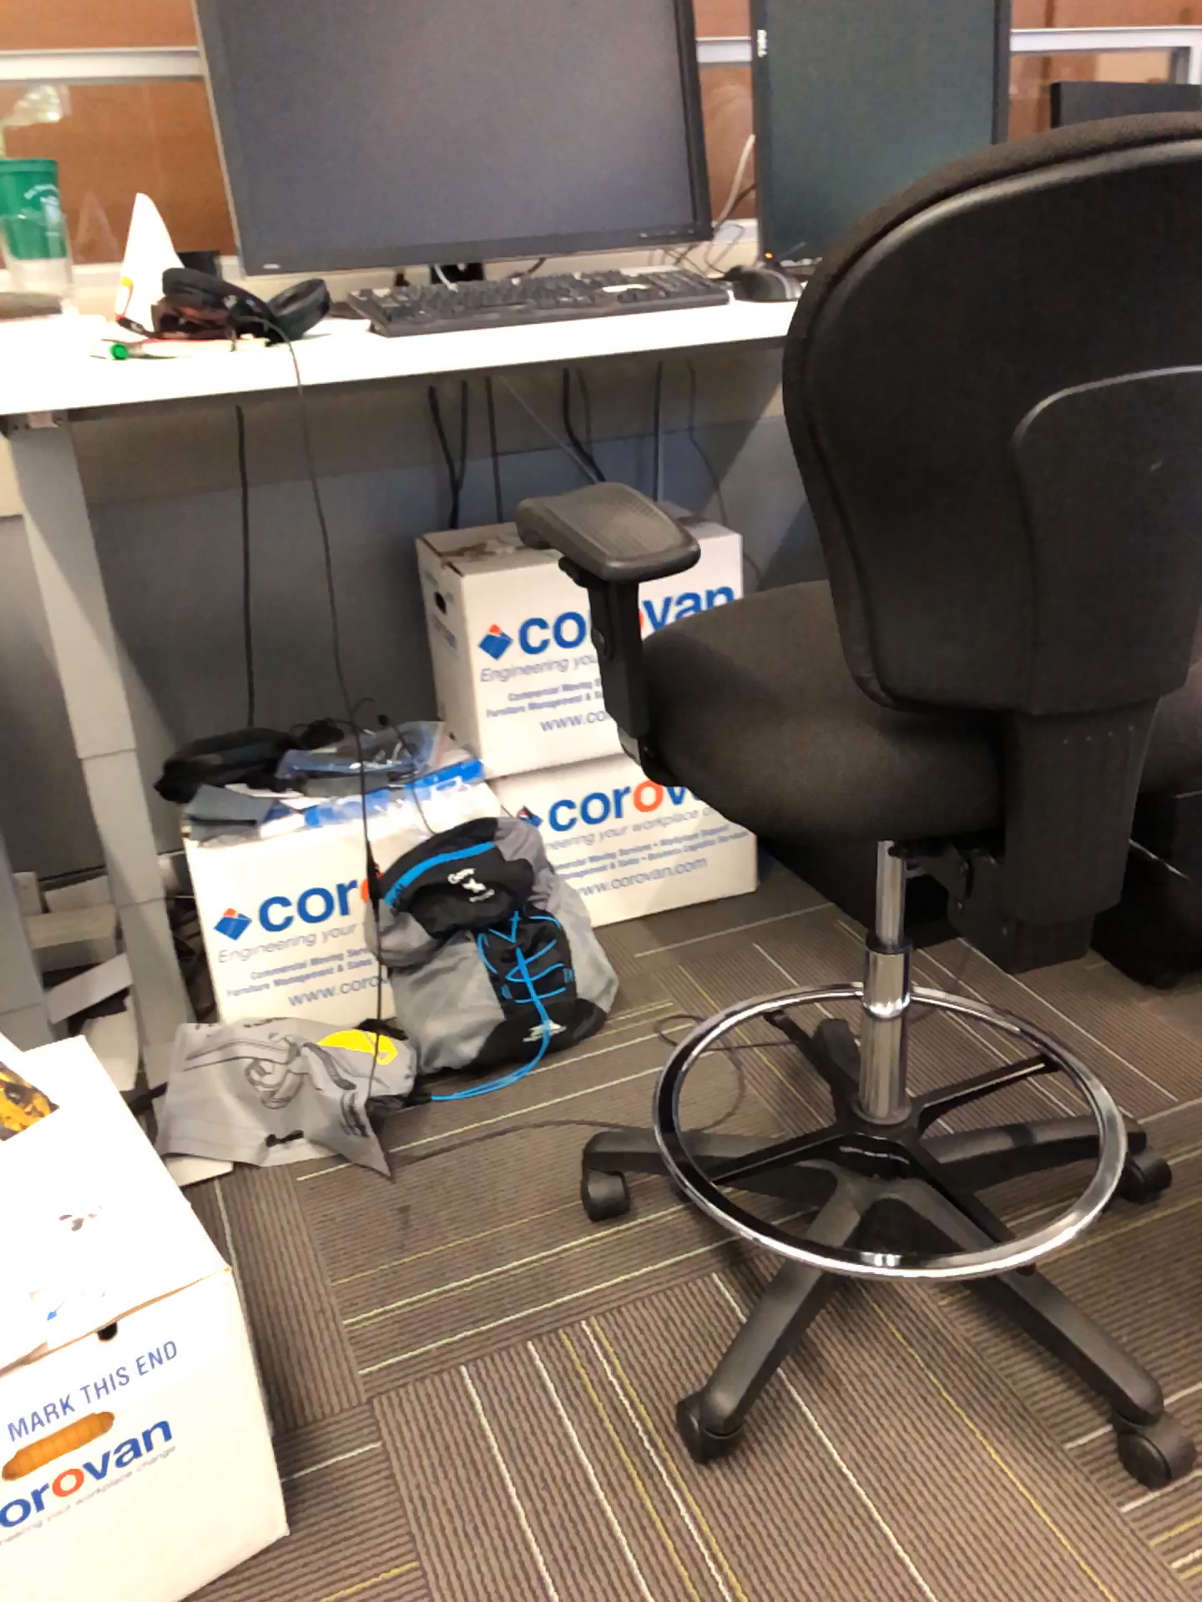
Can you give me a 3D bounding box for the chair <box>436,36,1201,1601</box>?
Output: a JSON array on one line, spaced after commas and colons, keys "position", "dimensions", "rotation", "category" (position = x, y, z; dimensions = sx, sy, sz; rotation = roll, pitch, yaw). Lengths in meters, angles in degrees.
[{"position": [0.296, -0.018, 1.248], "dimensions": [0.640, 1.134, 0.733], "rotation": [-11, 25, -15], "category": "chair"}]
